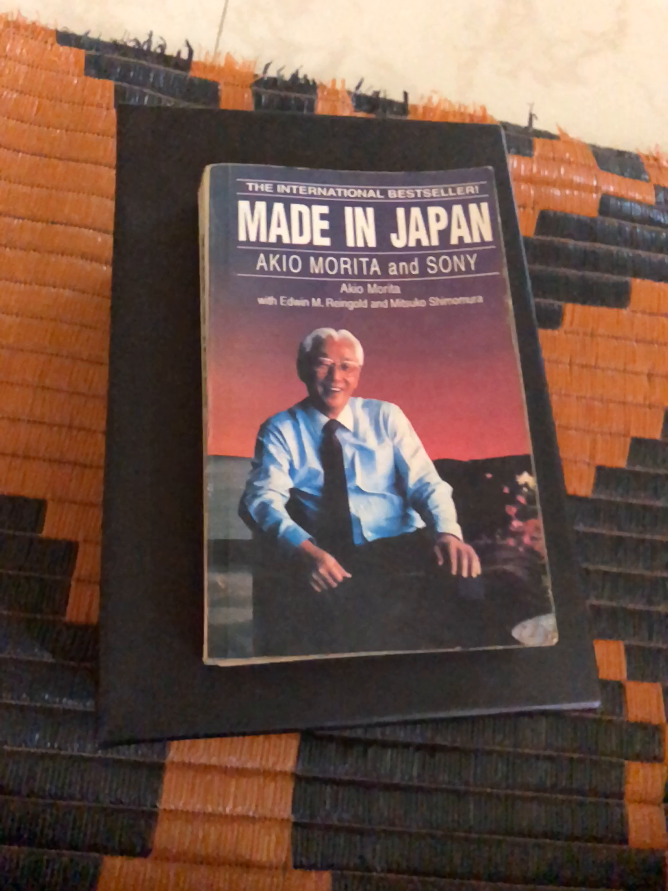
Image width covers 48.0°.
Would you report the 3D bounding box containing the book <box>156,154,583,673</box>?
[{"bbox_3d":[0.006,-0.016,0.251,0.120,0.030,0.170,-1,71,-6],"label":"book"}]
